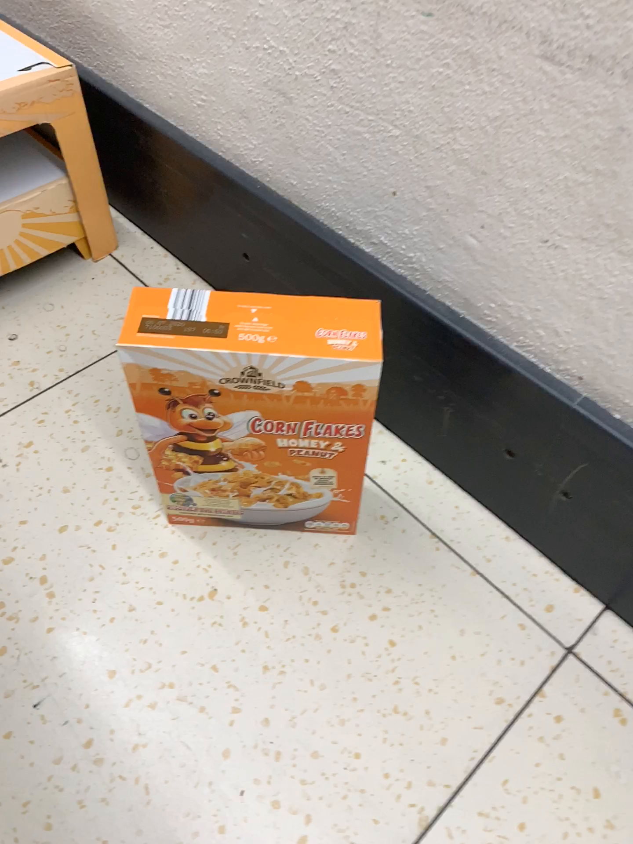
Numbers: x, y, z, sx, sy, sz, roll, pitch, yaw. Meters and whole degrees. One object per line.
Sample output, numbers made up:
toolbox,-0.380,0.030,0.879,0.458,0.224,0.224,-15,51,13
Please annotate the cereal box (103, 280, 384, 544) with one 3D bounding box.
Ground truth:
cereal box,-0.054,0.007,0.587,0.200,0.268,0.071,4,51,1
